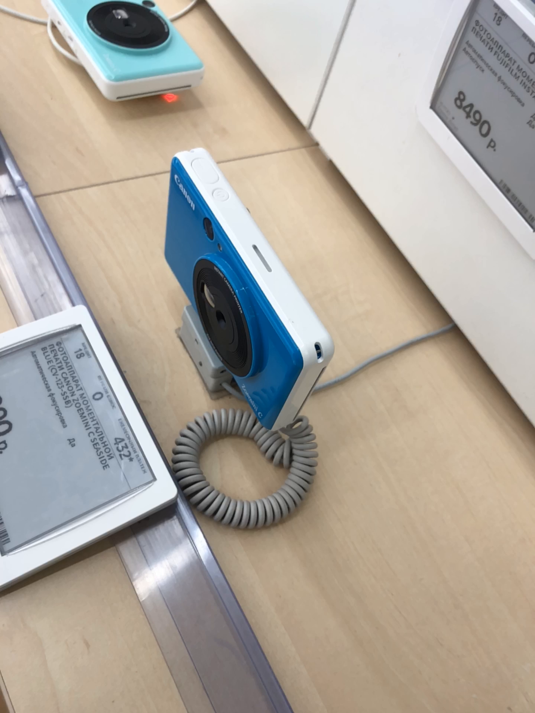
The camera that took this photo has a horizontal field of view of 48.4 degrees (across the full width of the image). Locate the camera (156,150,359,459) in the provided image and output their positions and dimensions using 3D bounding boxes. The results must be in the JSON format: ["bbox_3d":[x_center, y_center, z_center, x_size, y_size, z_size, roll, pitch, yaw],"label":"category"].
[{"bbox_3d":[-0.013,-0.023,0.272,0.030,0.070,0.120,-21,66,-22],"label":"camera"}]
